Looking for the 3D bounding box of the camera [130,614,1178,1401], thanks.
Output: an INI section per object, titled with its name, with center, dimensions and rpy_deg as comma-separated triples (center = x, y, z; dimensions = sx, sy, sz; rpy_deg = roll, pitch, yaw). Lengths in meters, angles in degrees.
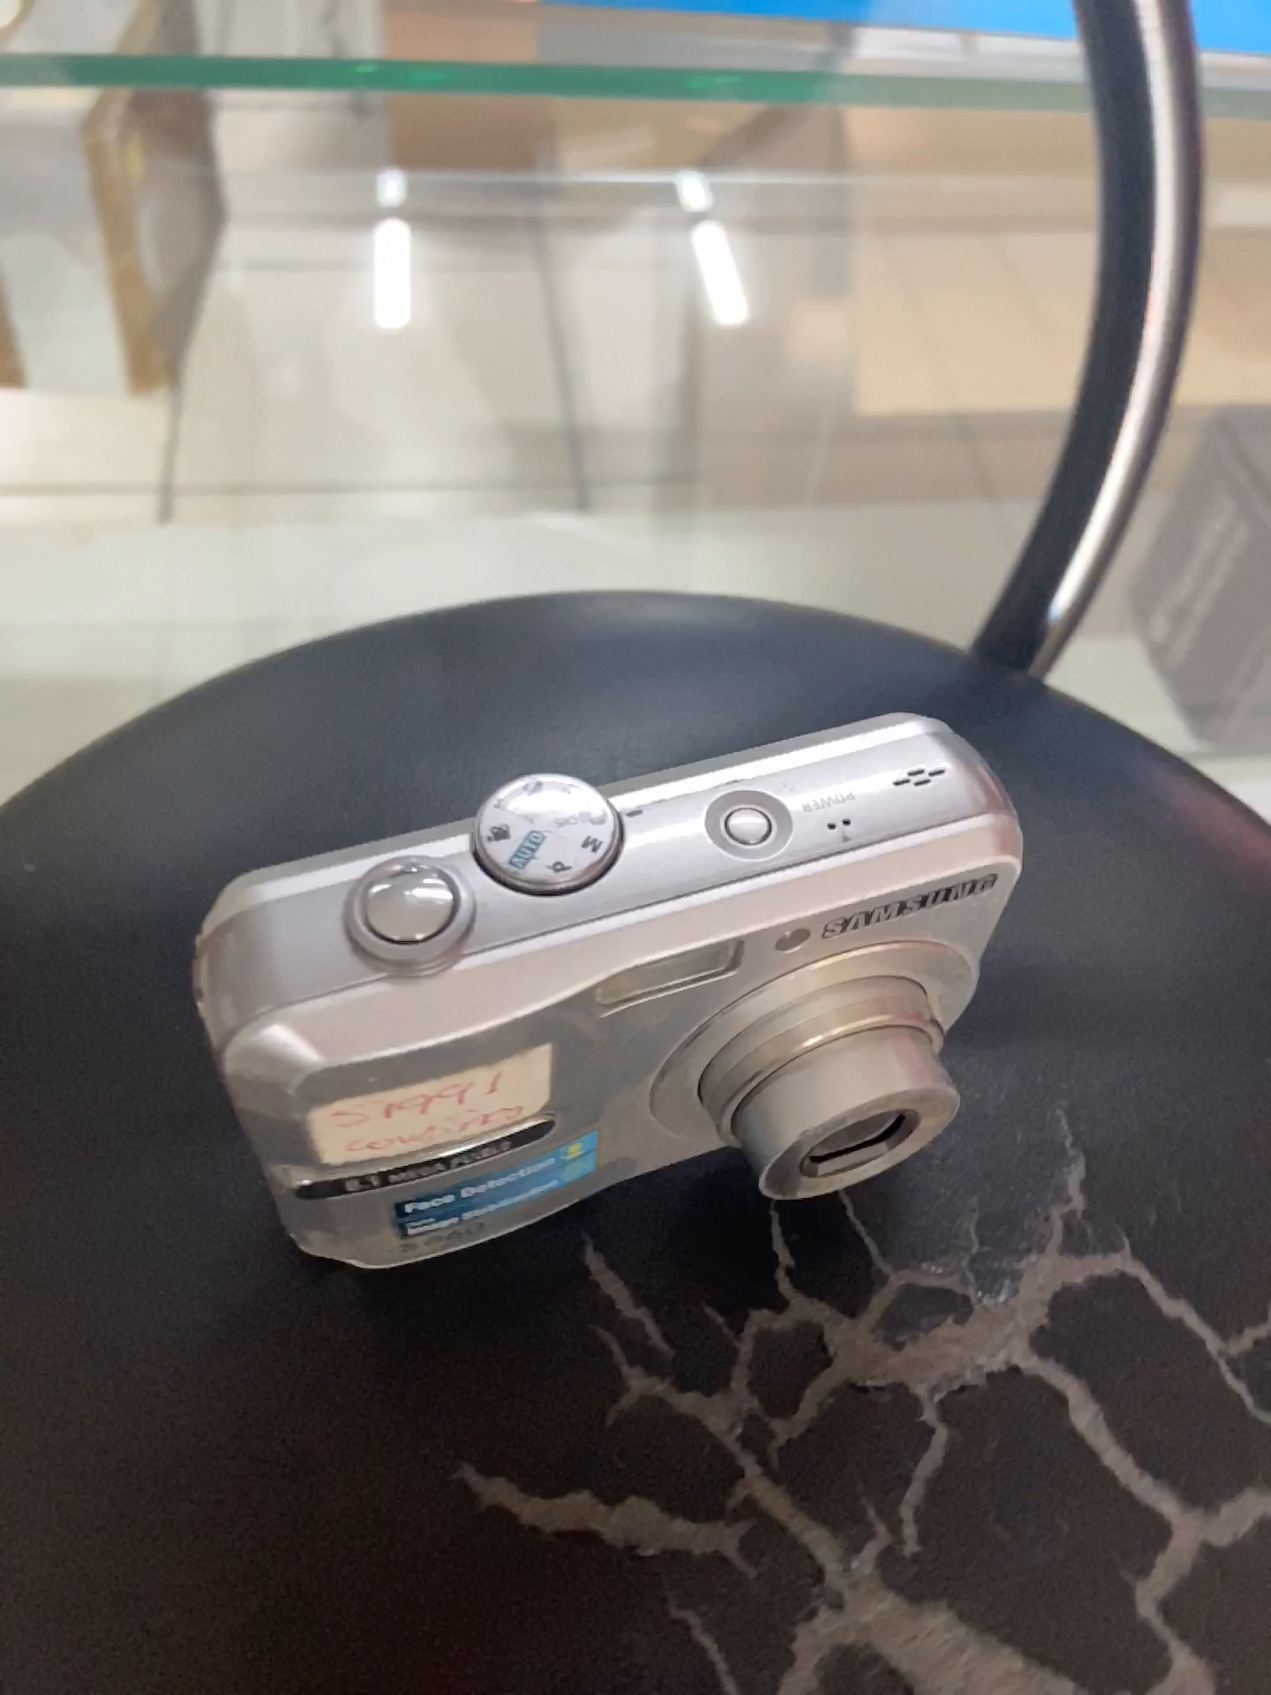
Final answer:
[camera]
center = -0.001, 0.019, 0.165
dimensions = 0.100, 0.060, 0.050
rpy_deg = -13, 55, -14
